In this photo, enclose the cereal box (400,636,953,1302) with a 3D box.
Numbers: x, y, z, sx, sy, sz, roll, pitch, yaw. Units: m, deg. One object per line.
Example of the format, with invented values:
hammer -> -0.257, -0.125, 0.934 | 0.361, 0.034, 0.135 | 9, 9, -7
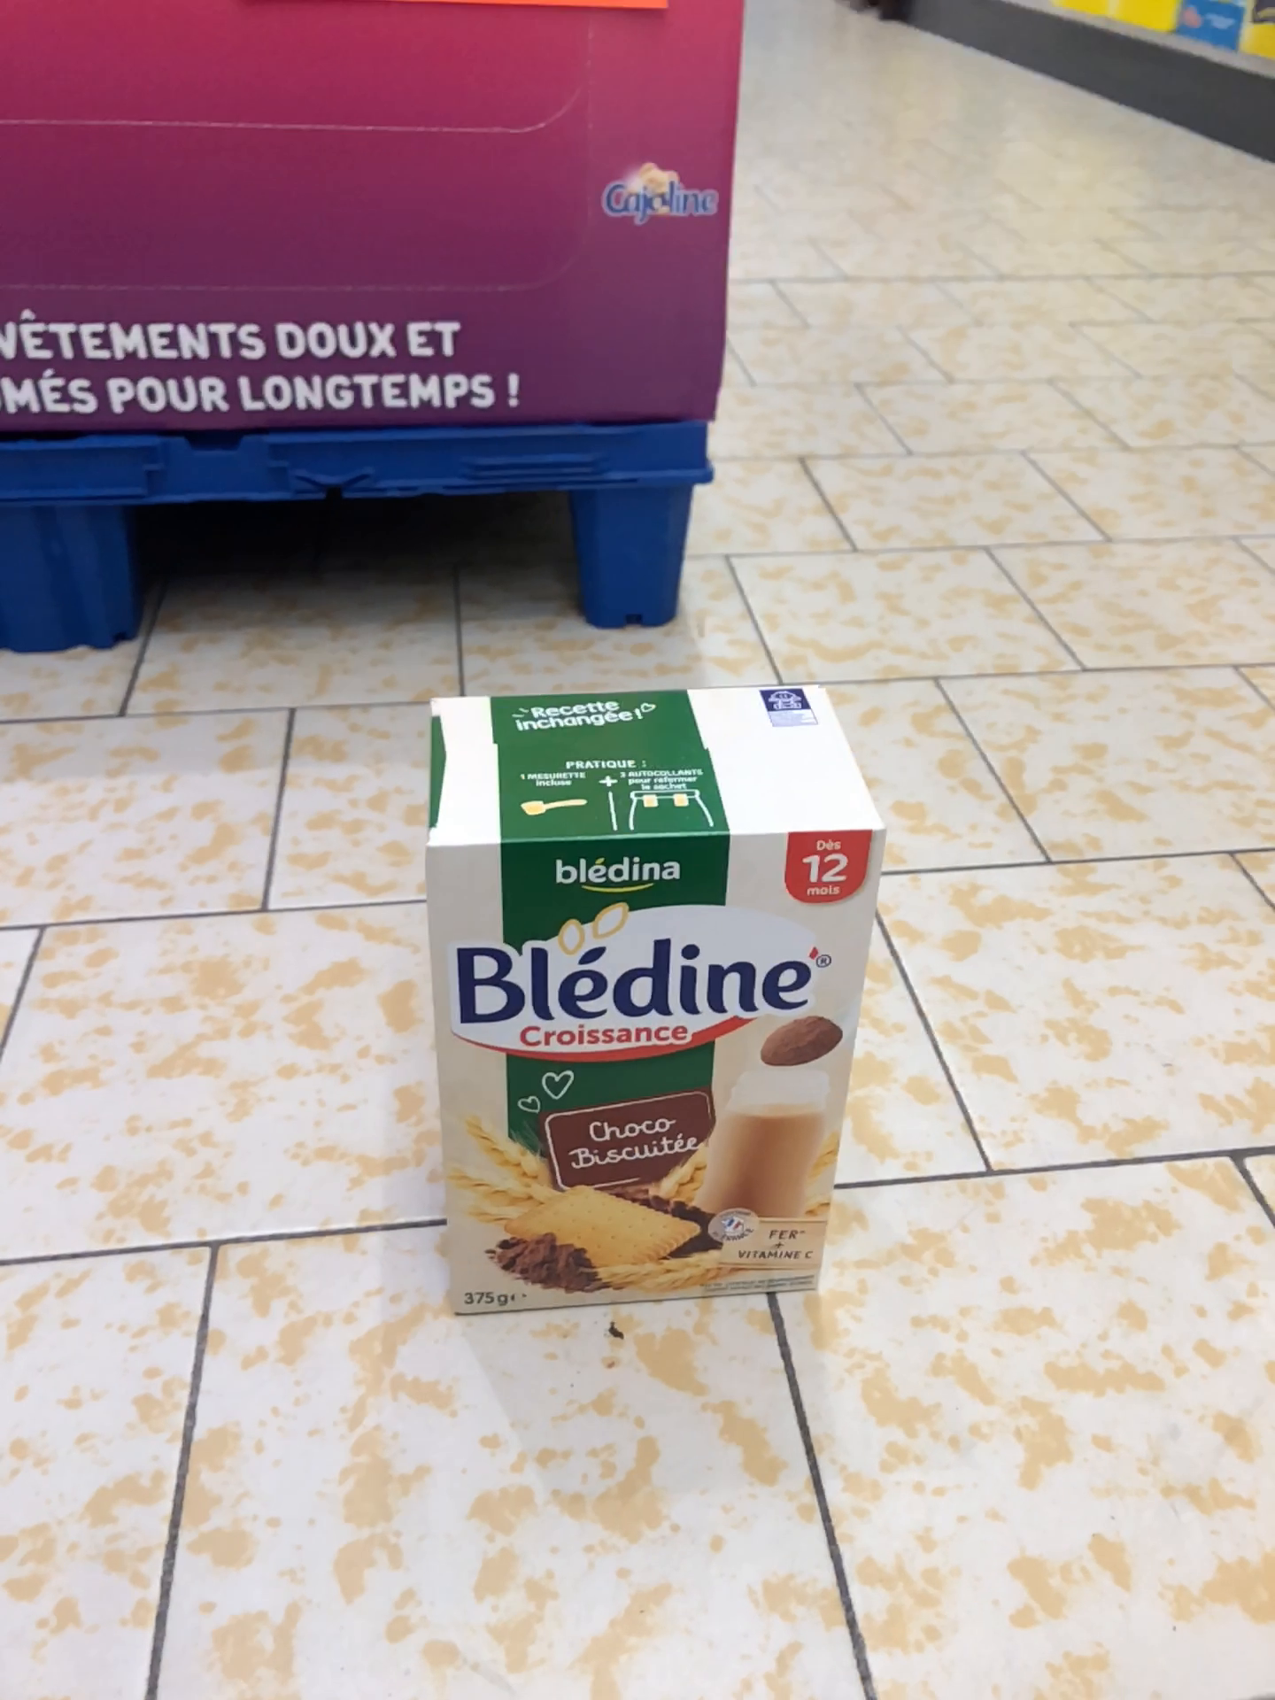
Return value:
cereal box -> 0.005, 0.038, 0.411 | 0.130, 0.179, 0.080 | -2, 35, -5
